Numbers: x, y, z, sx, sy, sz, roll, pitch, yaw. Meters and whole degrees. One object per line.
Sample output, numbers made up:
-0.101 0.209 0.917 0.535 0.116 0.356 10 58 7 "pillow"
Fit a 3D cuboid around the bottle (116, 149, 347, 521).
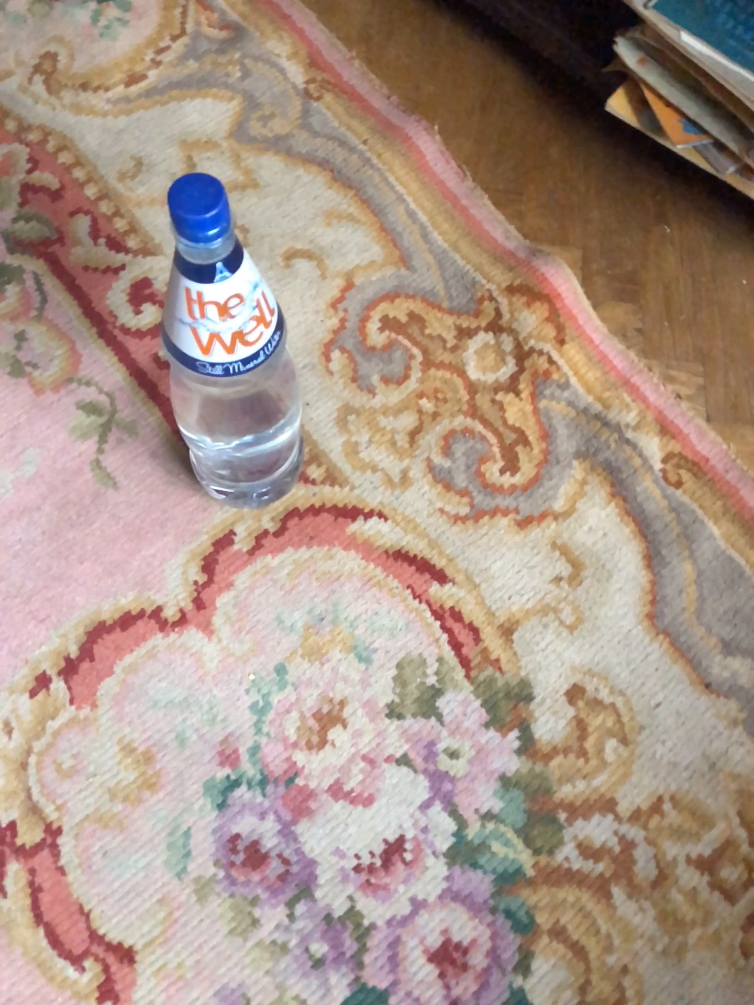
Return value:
-0.091 -0.090 0.577 0.110 0.309 0.100 2 70 -5 "bottle"
